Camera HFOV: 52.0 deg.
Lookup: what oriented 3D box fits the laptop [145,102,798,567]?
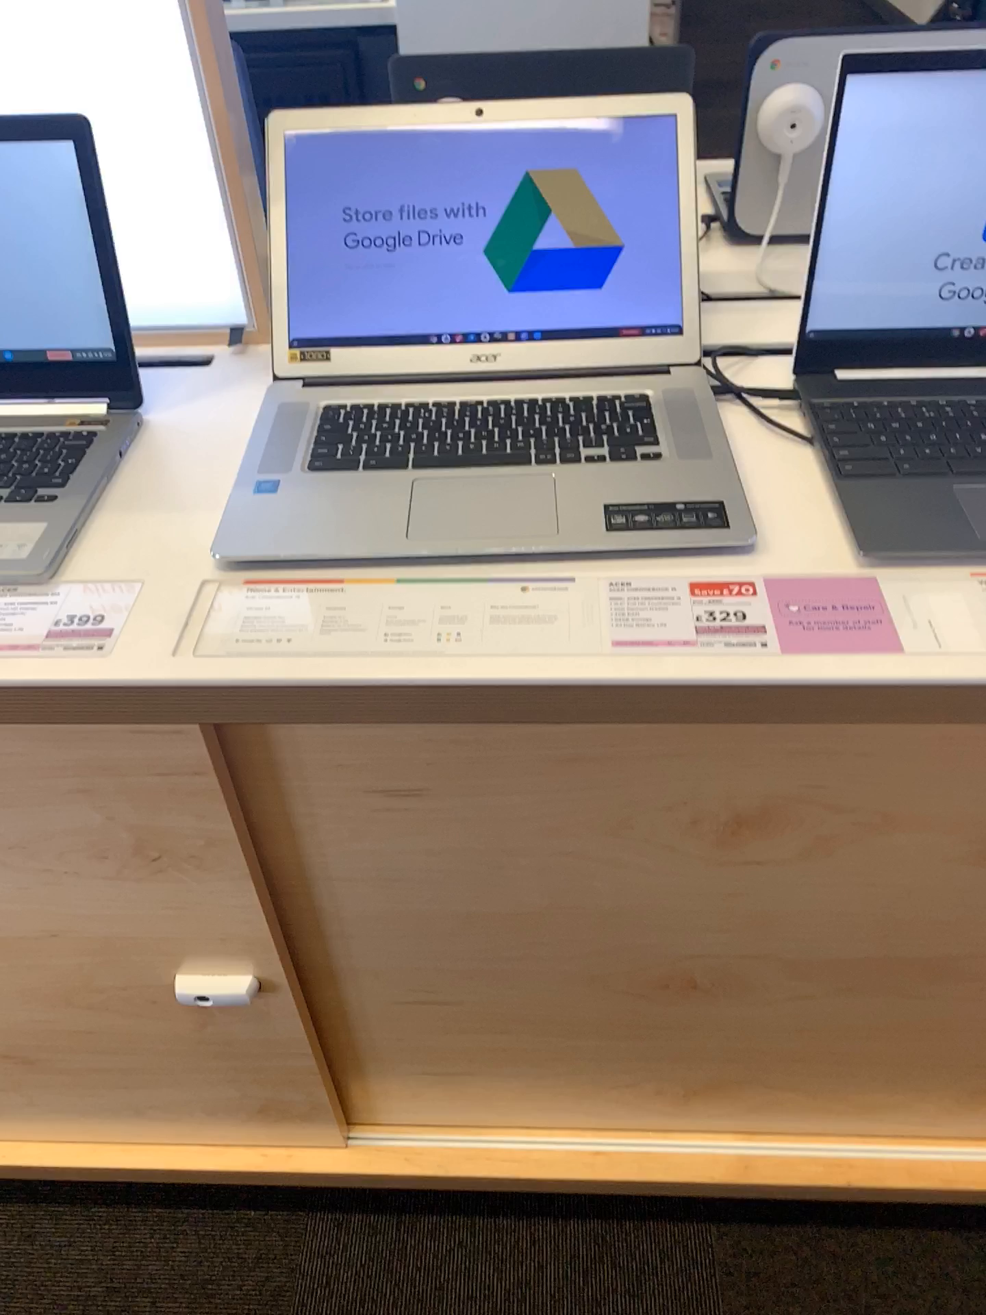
[{"bbox_3d":[-0.009,-0.277,0.795,0.375,0.168,0.434,-2,42,1],"label":"laptop"}]
